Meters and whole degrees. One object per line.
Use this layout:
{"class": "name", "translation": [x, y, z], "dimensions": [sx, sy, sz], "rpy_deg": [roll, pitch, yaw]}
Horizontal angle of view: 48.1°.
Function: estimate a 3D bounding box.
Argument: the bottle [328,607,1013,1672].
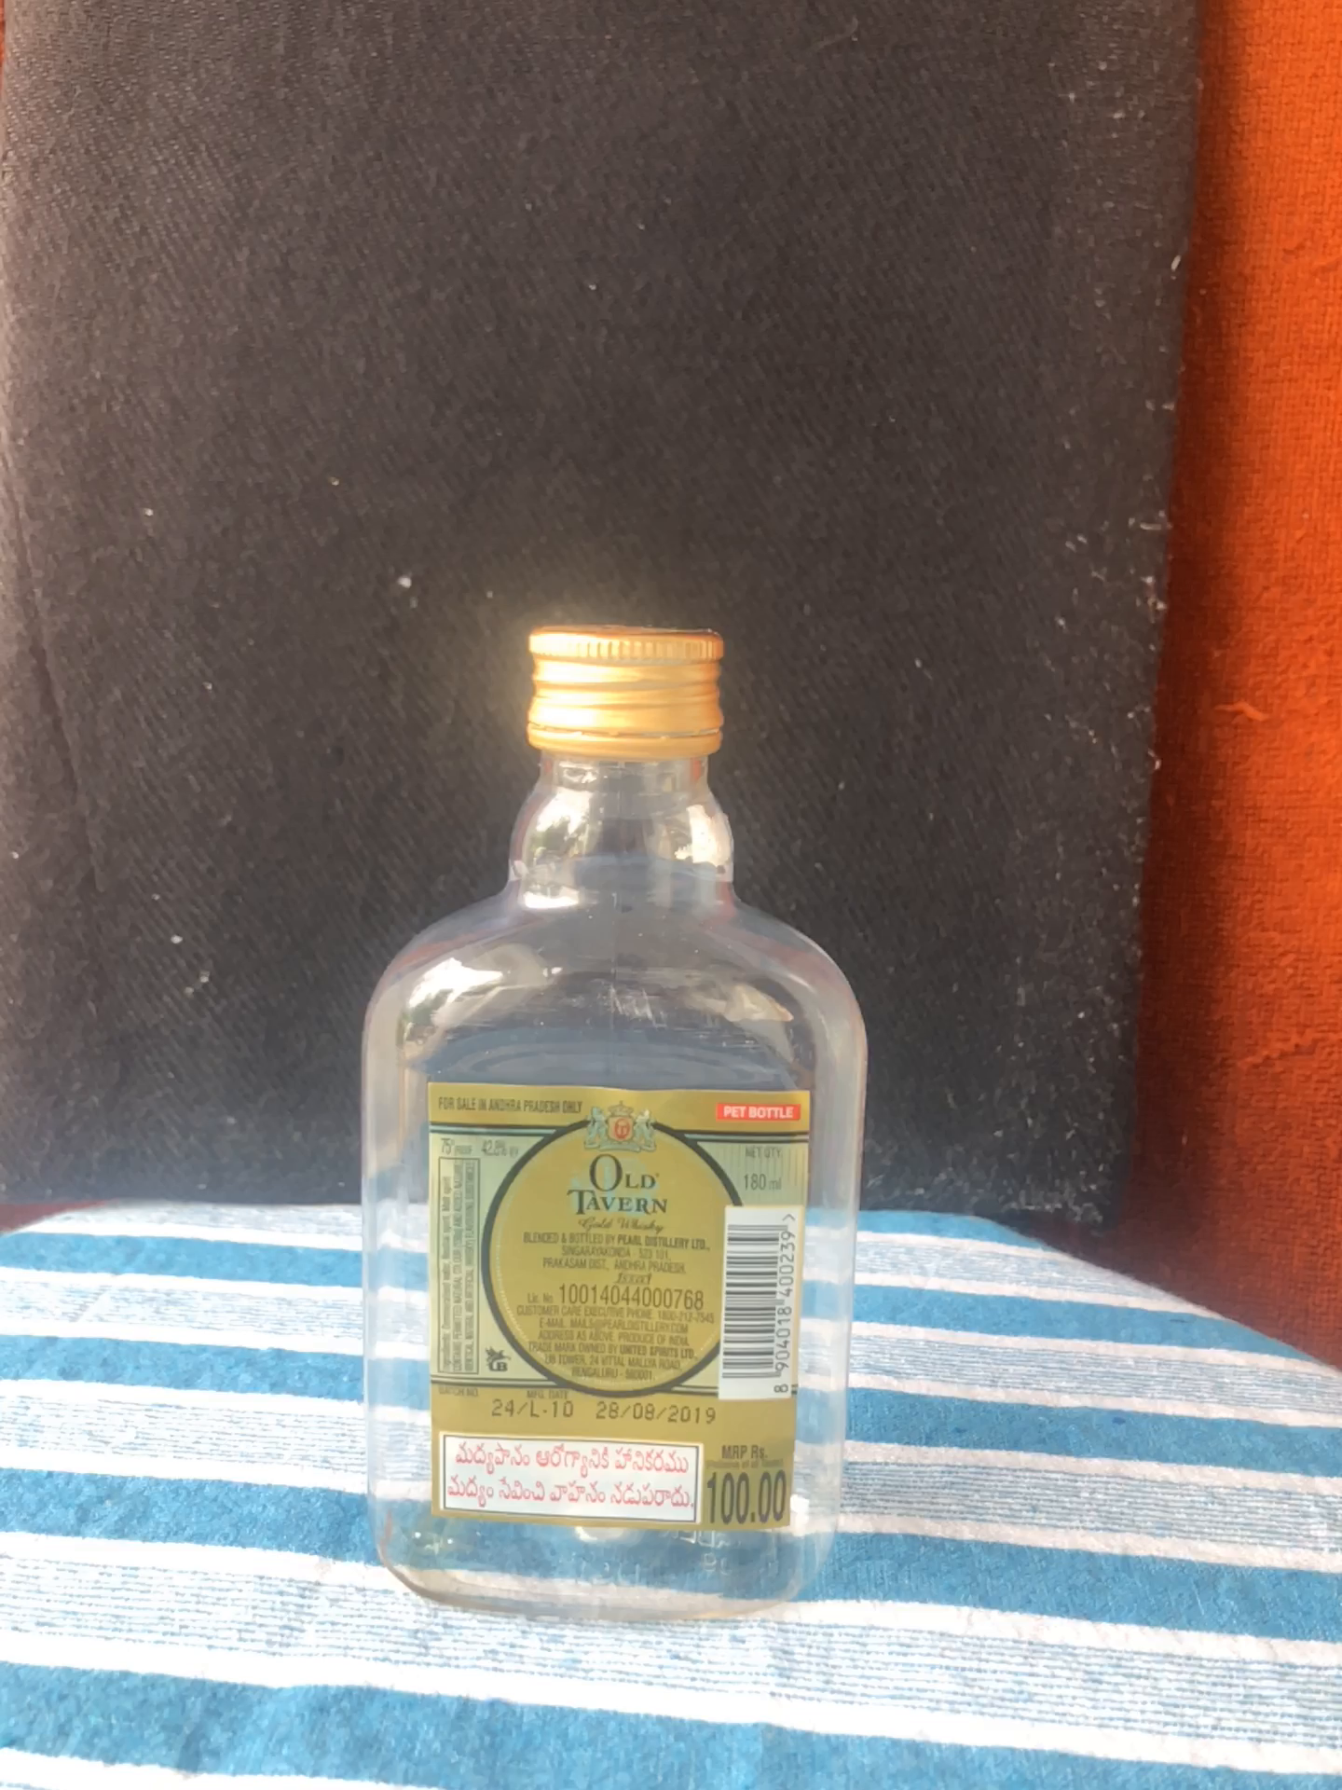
{"class": "bottle", "translation": [-0.003, 0.034, 0.214], "dimensions": [0.080, 0.140, 0.040], "rpy_deg": [4, 13, 0]}
